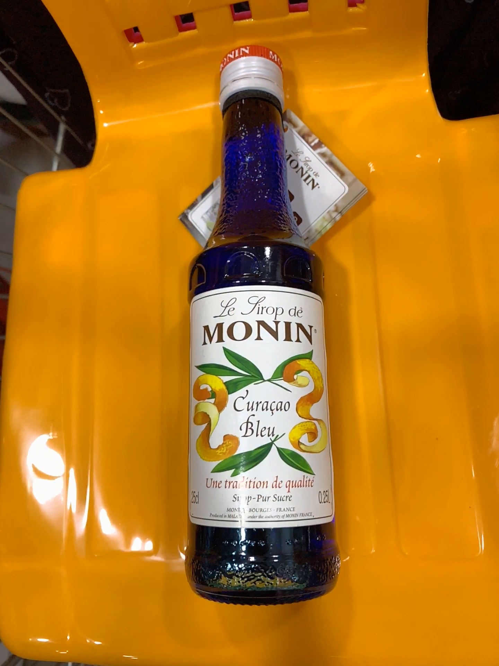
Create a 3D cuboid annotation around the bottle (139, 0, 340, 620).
[{"bbox_3d":[-0.003,-0.018,0.201,0.060,0.050,0.220,-1,78,3],"label":"bottle"}]
